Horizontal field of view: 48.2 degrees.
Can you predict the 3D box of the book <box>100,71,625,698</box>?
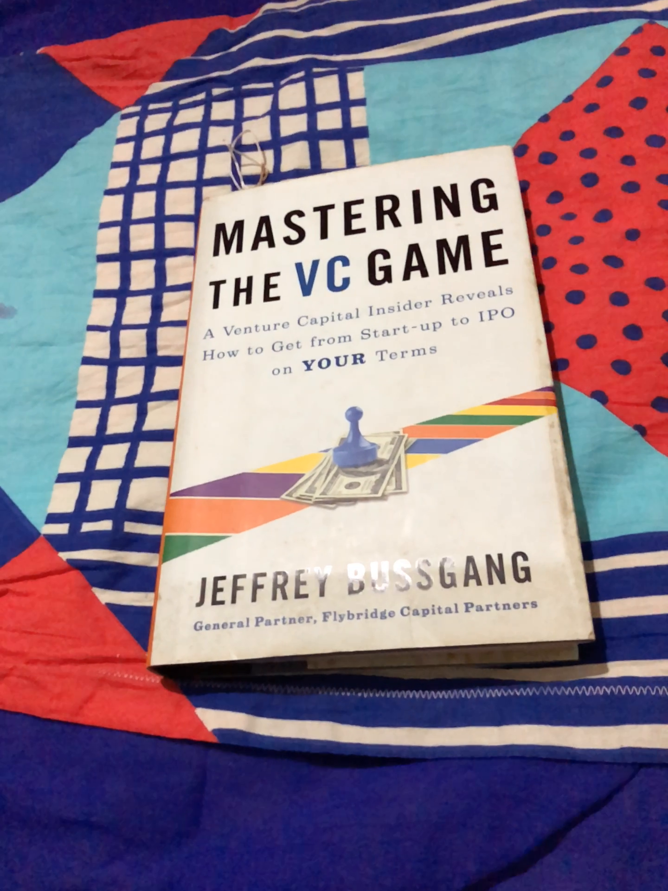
[{"bbox_3d":[0.009,-0.039,0.339,0.180,0.050,0.280,-6,61,12],"label":"book"}]
